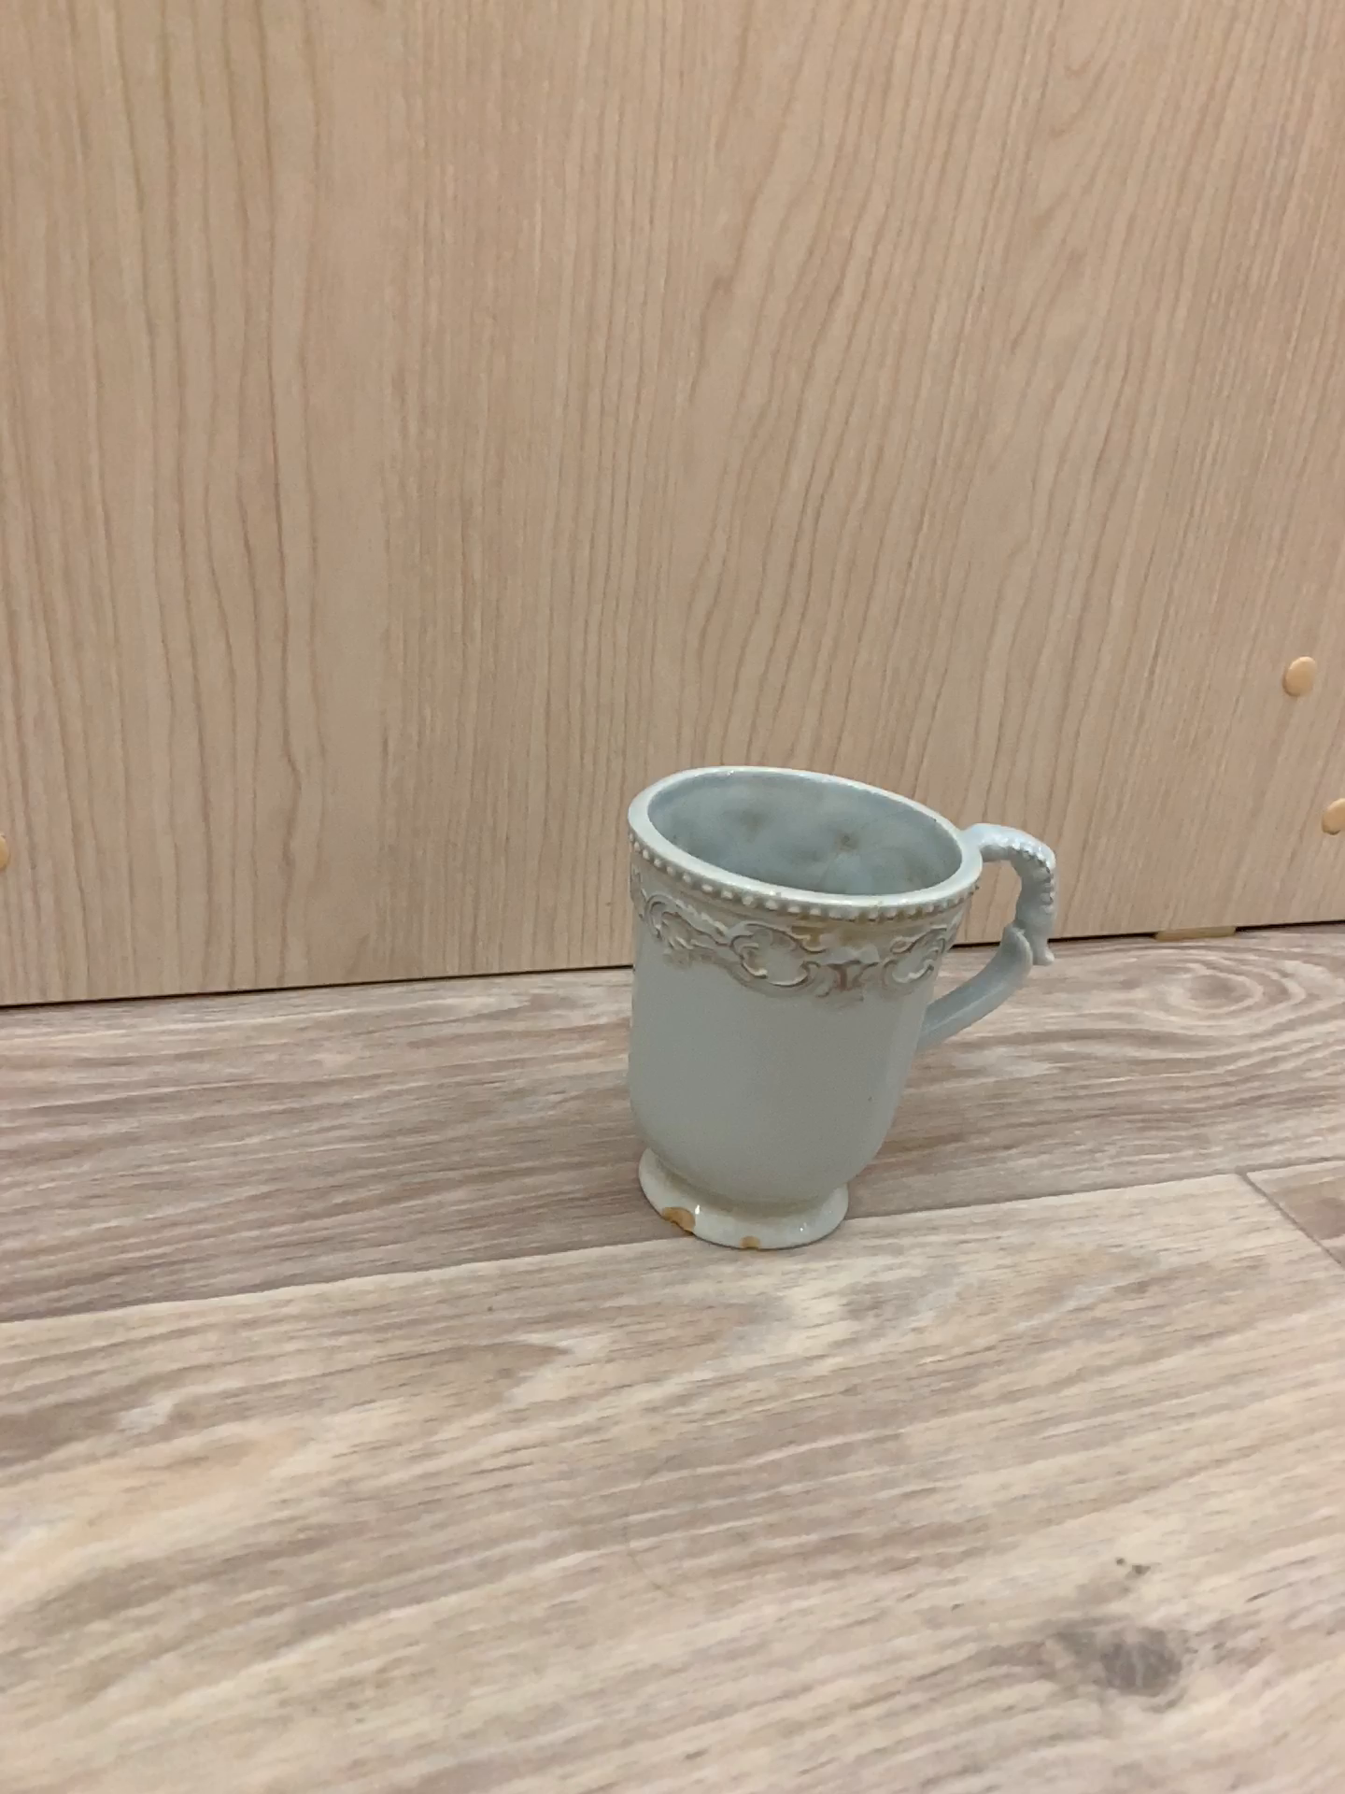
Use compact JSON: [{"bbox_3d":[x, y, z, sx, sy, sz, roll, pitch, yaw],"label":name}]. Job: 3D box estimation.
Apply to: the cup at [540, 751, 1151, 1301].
[{"bbox_3d":[0.039,0.026,0.362,0.118,0.102,0.083,-5,26,-25],"label":"cup"}]
